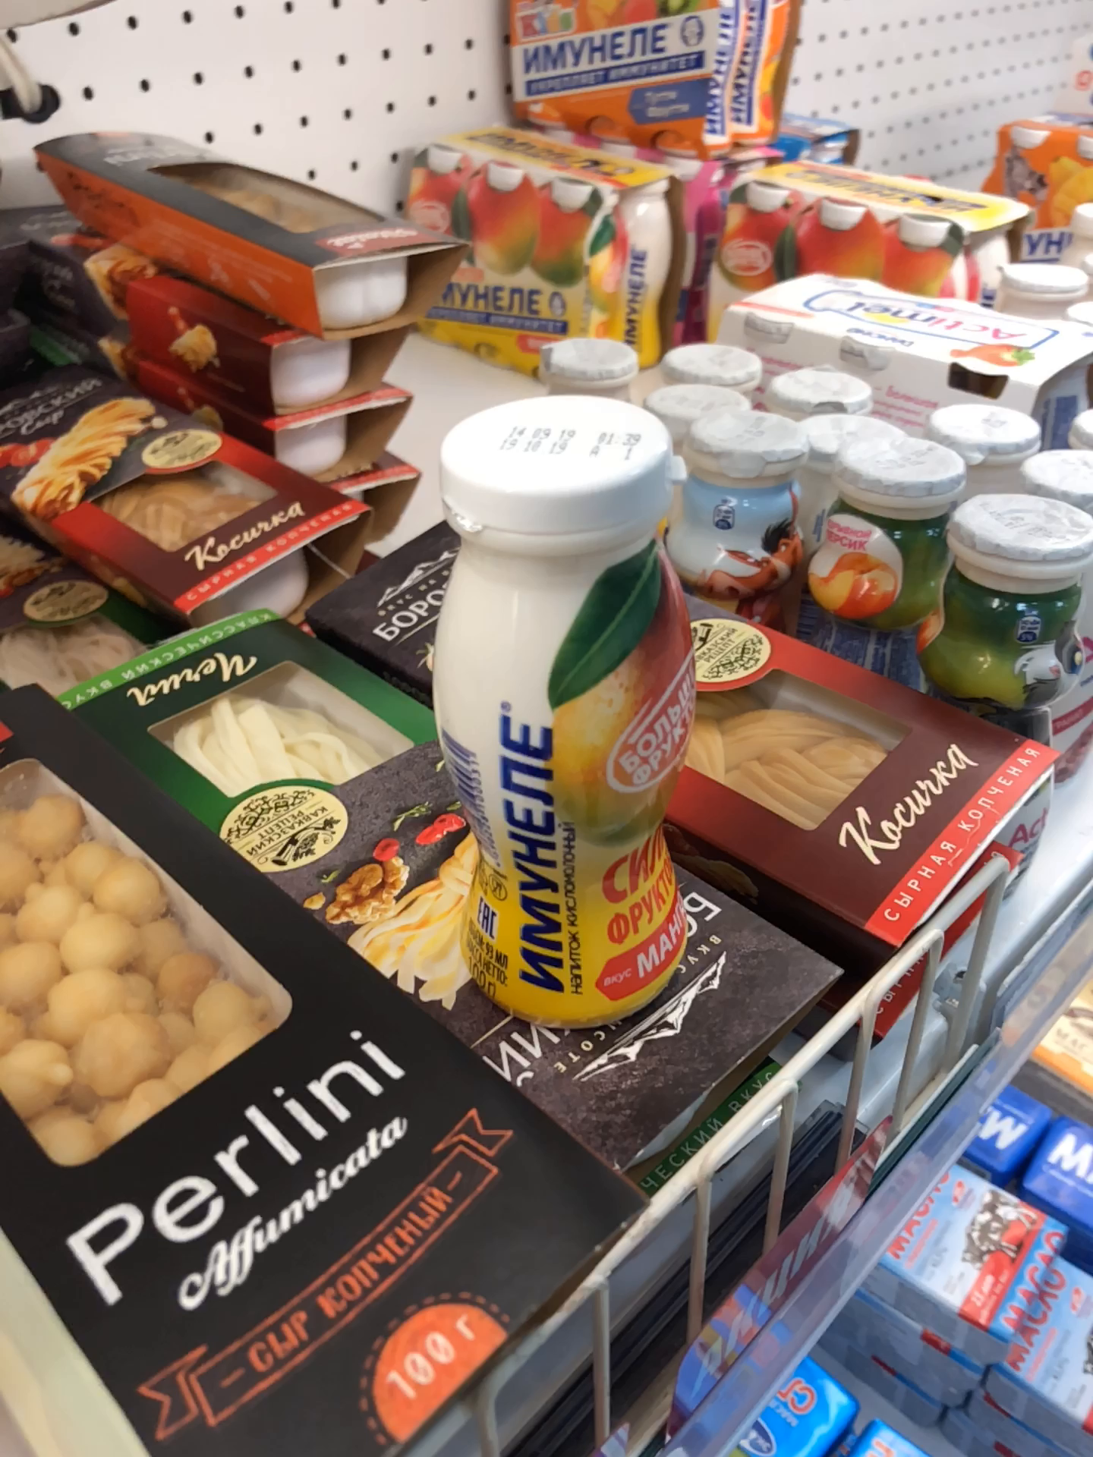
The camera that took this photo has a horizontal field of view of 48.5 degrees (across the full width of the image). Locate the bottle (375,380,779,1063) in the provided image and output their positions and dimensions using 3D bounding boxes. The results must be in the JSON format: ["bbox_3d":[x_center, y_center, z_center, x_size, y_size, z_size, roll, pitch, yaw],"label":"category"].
[{"bbox_3d":[0.007,0.000,0.207,0.044,0.099,0.046,-1,34,1],"label":"bottle"}]
